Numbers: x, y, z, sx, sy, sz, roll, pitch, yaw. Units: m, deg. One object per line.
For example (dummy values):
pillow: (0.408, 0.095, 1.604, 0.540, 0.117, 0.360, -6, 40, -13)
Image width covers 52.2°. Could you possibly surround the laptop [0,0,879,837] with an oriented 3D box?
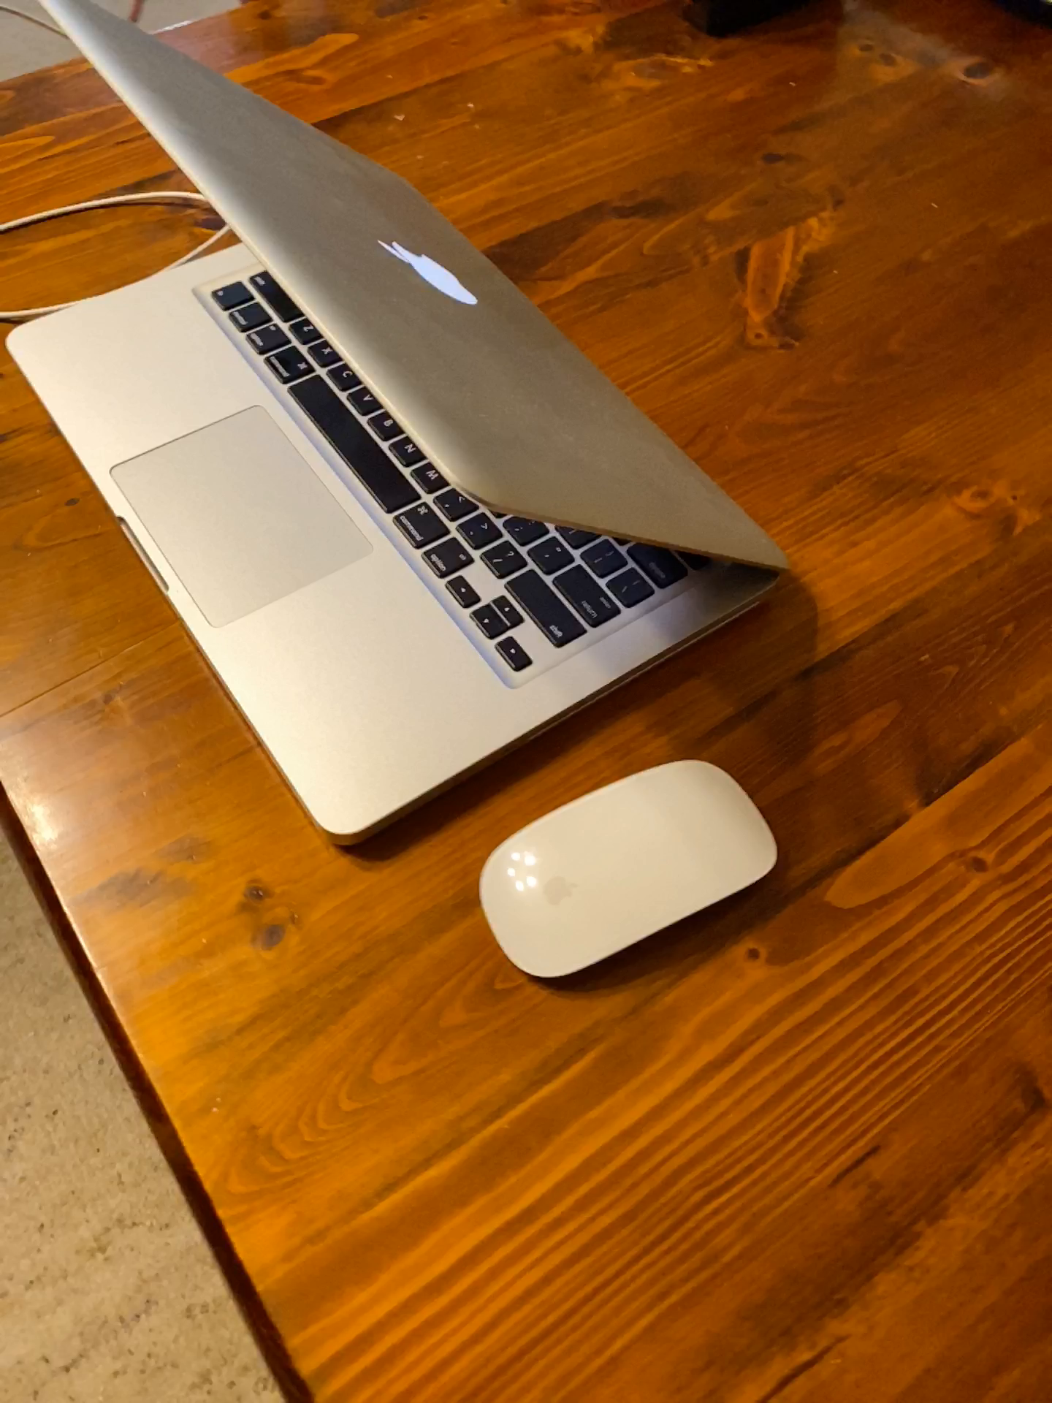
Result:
laptop: (-0.069, -0.149, 0.419, 0.212, 0.136, 0.311, -30, 65, -18)
